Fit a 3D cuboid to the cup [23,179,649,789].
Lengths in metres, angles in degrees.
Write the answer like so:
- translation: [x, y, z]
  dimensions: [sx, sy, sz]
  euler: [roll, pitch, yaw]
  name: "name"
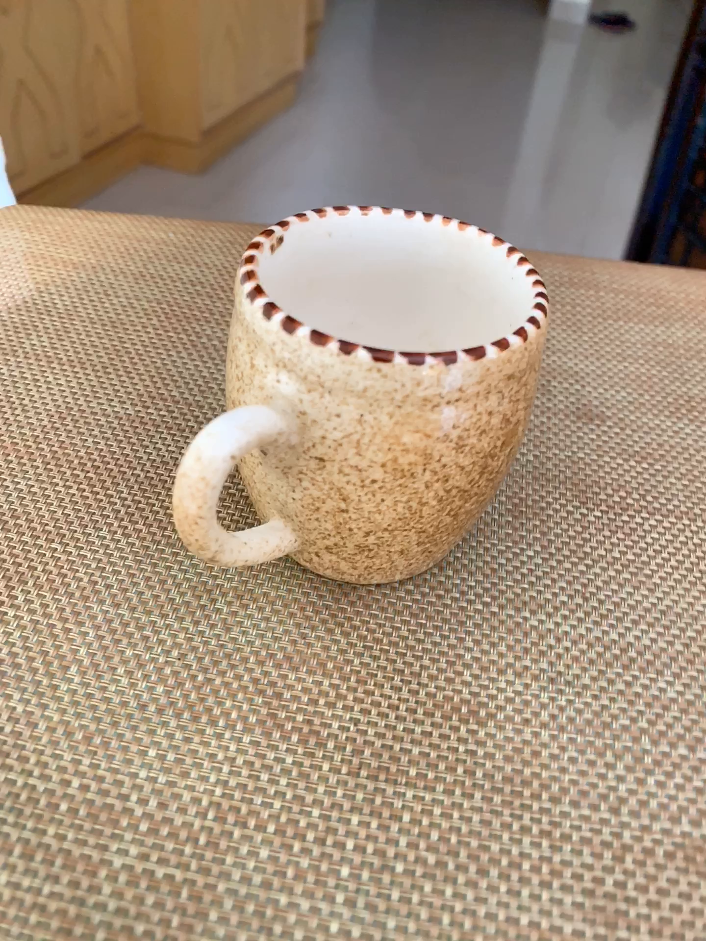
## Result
- translation: [-0.002, -0.004, 0.158]
  dimensions: [0.070, 0.069, 0.090]
  euler: [35, 51, 26]
  name: "cup"
